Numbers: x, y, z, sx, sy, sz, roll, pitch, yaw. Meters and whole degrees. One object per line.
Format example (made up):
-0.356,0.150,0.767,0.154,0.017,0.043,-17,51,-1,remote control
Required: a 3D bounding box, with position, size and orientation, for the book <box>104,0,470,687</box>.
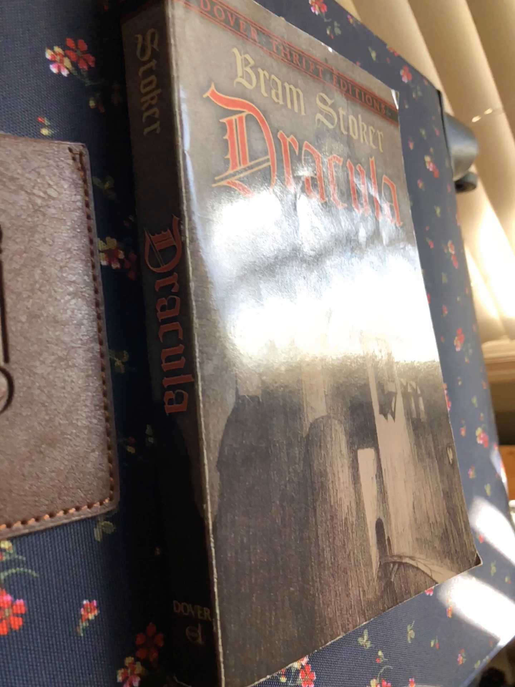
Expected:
0.019,-0.007,0.208,0.131,0.033,0.202,1,81,-47,book
